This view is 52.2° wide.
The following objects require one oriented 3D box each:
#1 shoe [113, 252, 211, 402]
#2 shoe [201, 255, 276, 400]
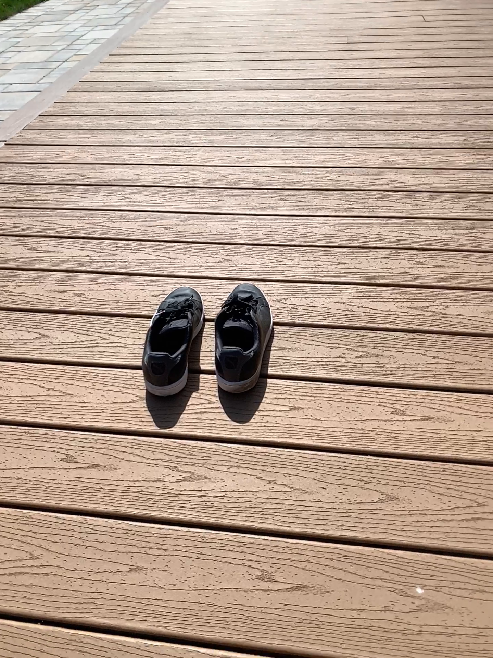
[{"bbox_3d":[-0.144,-0.016,0.944,0.112,0.107,0.301,1,42,5],"label":"shoe"},{"bbox_3d":[-0.005,-0.013,0.922,0.110,0.104,0.281,1,42,5],"label":"shoe"}]
